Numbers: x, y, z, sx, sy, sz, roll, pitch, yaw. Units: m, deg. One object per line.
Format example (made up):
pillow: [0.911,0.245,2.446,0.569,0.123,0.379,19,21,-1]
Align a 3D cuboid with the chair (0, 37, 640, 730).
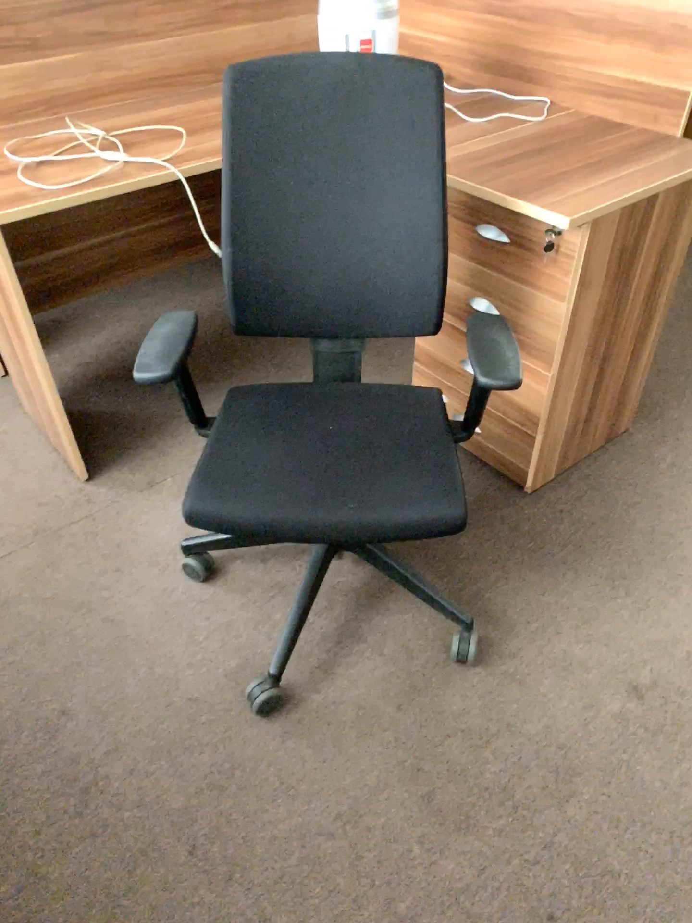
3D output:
chair: [-0.051,-0.141,1.240,0.670,0.915,0.794,1,41,2]
